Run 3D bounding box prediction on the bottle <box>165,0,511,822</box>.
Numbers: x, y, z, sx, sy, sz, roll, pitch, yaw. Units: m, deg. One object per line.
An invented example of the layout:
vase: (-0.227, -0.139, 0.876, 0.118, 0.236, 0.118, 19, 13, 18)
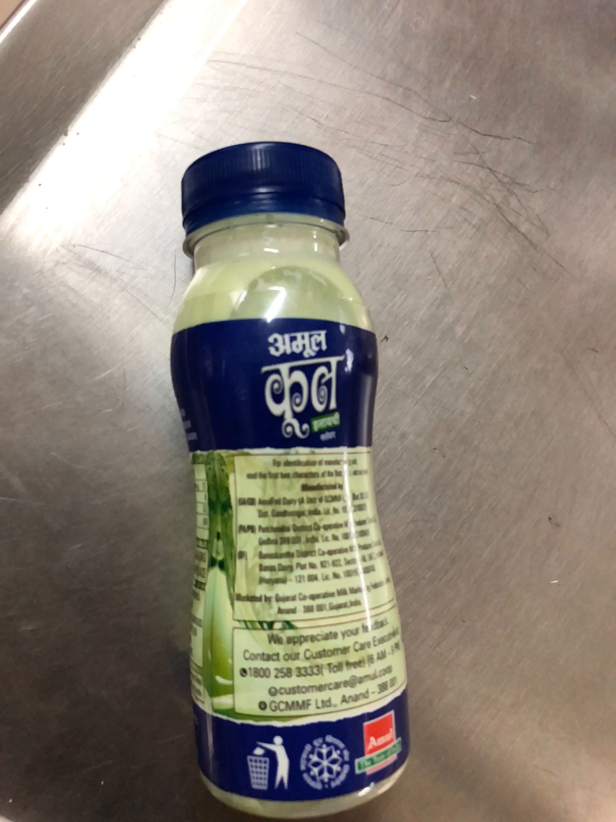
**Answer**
bottle: (0.002, -0.005, 0.137, 0.050, 0.040, 0.150, -3, 87, -13)
